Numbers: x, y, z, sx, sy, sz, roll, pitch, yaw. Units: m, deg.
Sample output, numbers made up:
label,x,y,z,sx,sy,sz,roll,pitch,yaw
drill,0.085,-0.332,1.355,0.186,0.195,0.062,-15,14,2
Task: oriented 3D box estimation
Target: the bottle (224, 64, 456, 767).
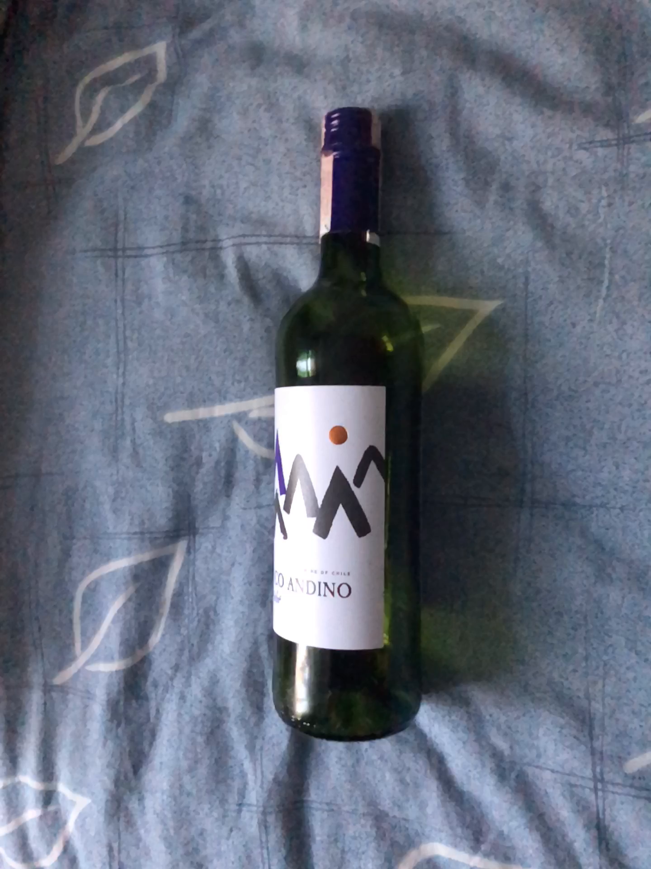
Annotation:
label,x,y,z,sx,sy,sz,roll,pitch,yaw
bottle,0.008,-0.008,0.353,0.080,0.080,0.290,1,90,36
